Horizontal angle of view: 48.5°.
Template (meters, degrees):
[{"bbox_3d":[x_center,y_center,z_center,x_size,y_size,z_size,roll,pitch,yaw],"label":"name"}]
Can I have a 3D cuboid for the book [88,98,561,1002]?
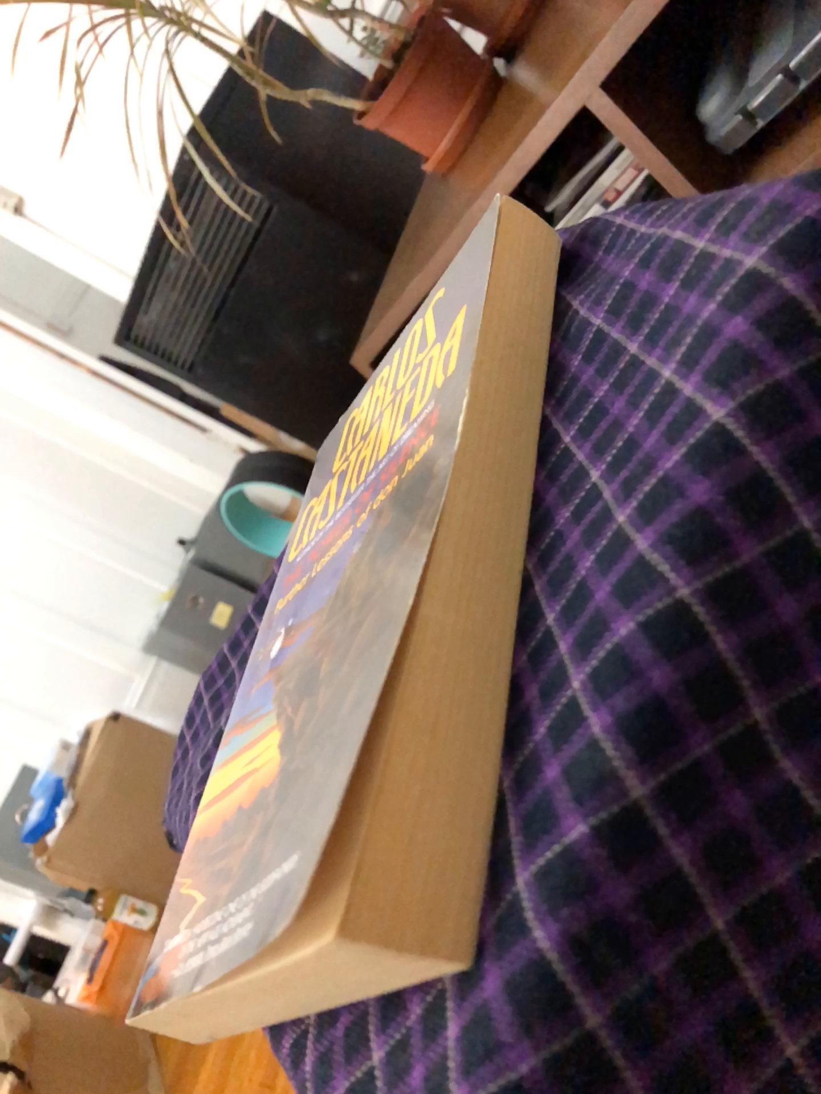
[{"bbox_3d":[-0.020,-0.003,0.251,0.150,0.020,0.221,-44,26,48],"label":"book"}]
